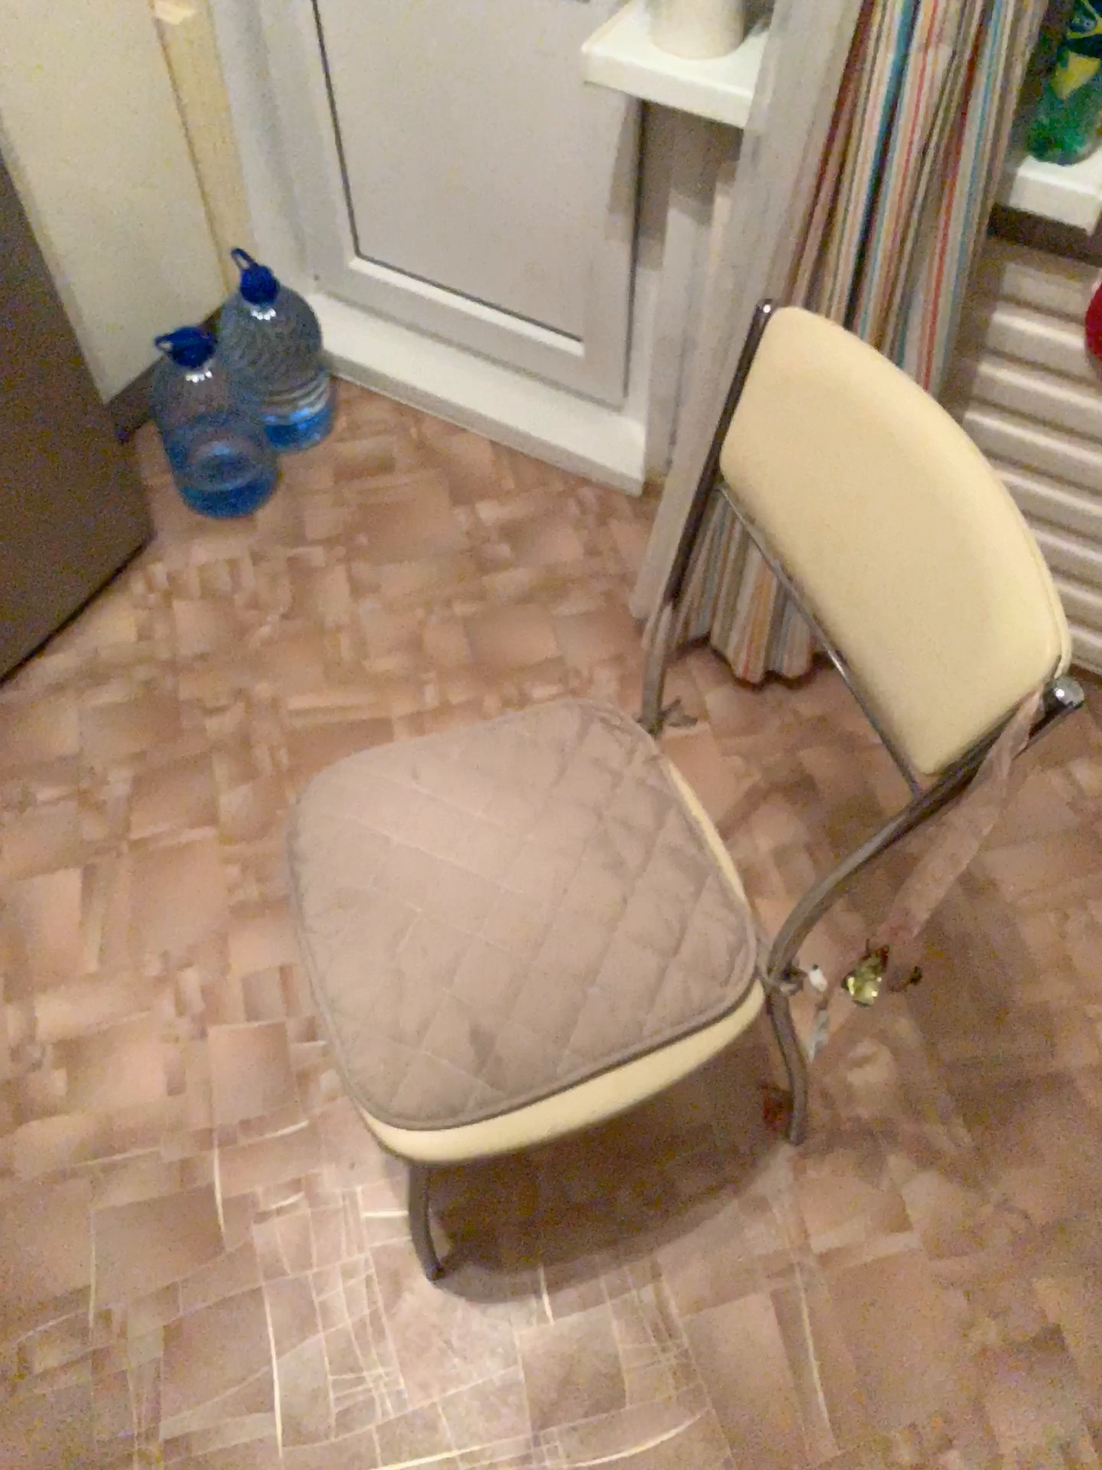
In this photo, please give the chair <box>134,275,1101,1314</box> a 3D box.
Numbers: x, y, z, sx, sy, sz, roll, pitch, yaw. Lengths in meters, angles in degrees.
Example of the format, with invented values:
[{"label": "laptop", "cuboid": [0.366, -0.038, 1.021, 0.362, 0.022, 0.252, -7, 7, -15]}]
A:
[{"label": "chair", "cuboid": [0.042, 0.143, 0.980, 0.490, 0.854, 0.386, -16, 57, -11]}]
